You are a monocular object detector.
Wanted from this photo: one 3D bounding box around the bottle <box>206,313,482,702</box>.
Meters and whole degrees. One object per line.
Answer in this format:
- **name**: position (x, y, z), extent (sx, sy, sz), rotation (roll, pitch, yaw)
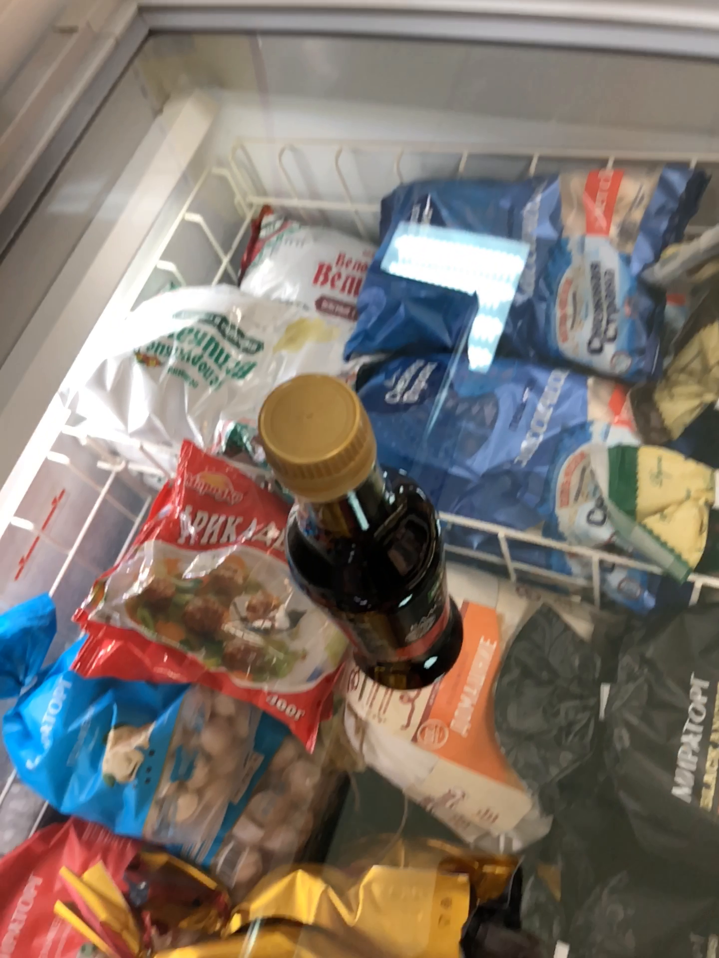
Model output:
- **bottle**: position (0.009, 0.028, 0.285), extent (0.060, 0.192, 0.058), rotation (-5, 61, 9)
